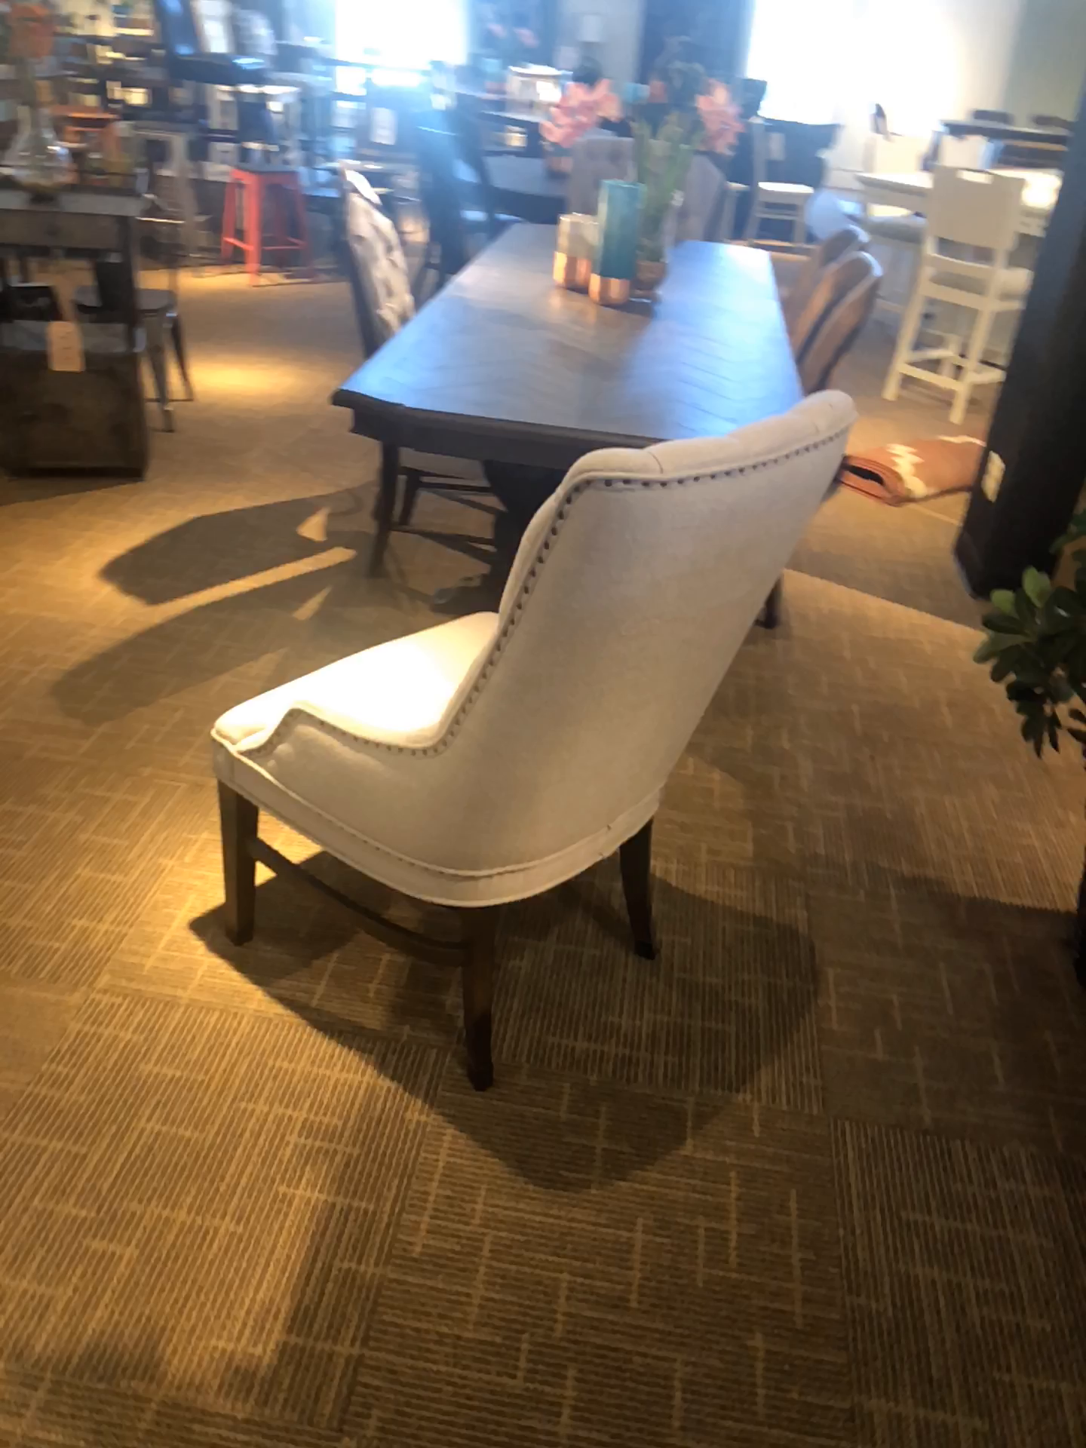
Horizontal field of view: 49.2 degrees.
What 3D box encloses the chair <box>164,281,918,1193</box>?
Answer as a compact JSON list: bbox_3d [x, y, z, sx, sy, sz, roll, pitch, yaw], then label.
[{"bbox_3d":[-0.047,-0.047,1.803,0.761,1.015,0.642,29,37,35],"label":"chair"}]
